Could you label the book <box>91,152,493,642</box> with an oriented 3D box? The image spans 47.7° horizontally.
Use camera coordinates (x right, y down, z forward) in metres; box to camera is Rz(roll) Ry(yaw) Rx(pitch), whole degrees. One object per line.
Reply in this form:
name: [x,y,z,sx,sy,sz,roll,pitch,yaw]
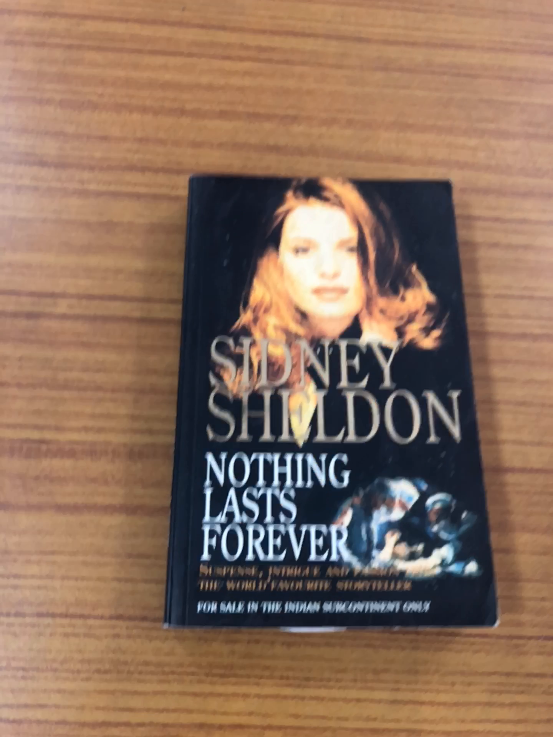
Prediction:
book: [0.004,0.004,0.227,0.120,0.030,0.170,0,72,-3]
